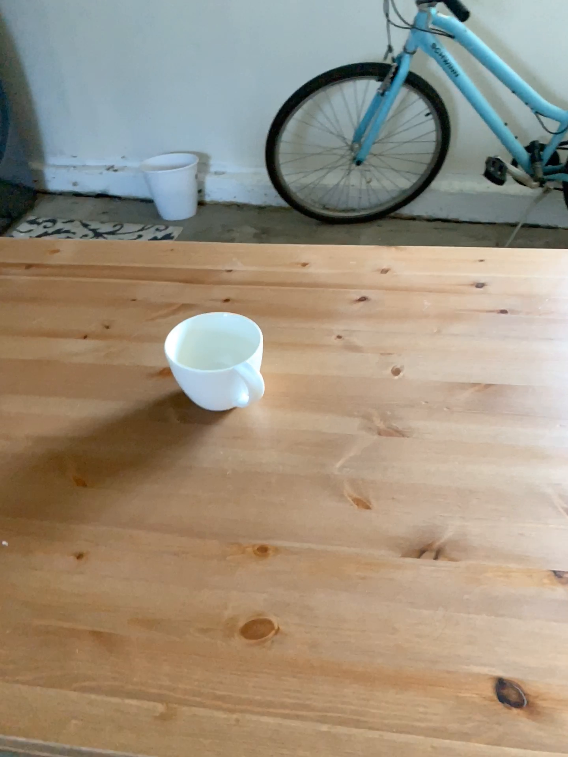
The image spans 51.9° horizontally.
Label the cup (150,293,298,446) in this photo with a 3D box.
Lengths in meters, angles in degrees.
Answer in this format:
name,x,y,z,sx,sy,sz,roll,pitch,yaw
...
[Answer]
name,x,y,z,sx,sy,sz,roll,pitch,yaw
cup,-0.065,-0.013,0.659,0.131,0.100,0.090,28,50,31
